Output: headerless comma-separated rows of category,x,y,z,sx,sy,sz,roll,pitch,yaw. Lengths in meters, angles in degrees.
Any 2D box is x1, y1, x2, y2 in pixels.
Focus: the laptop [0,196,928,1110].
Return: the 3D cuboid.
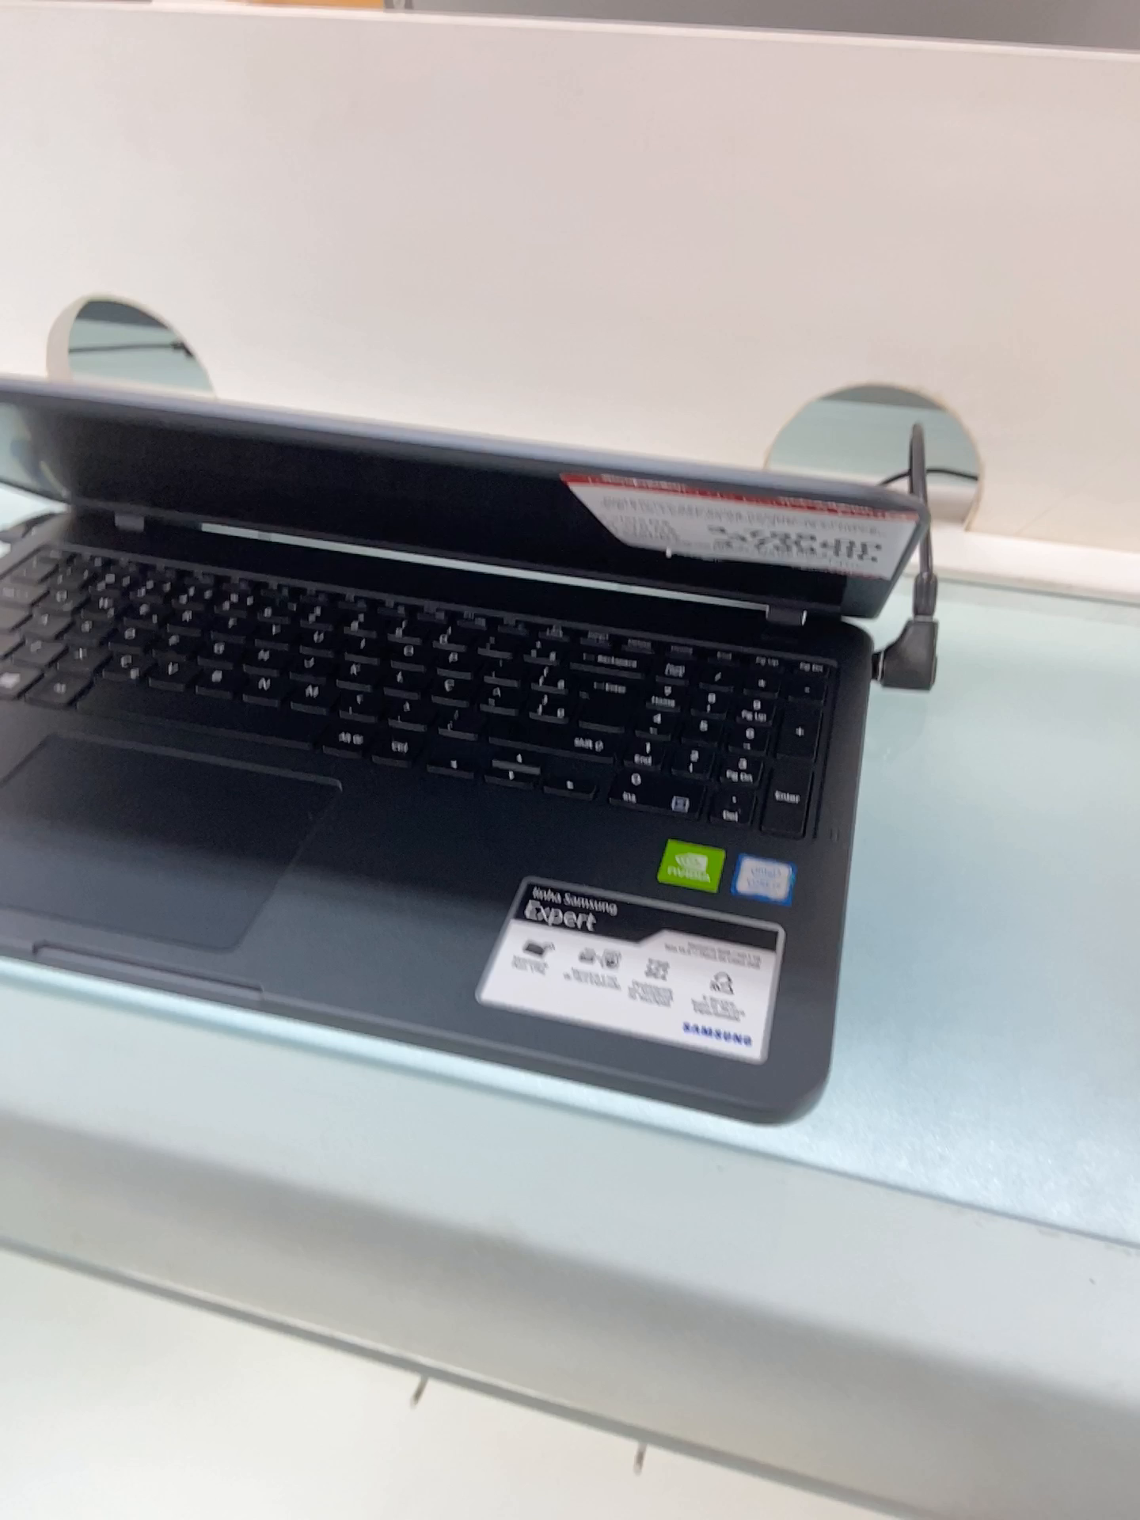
laptop,-0.090,-0.068,0.389,0.376,0.139,0.240,10,39,11
